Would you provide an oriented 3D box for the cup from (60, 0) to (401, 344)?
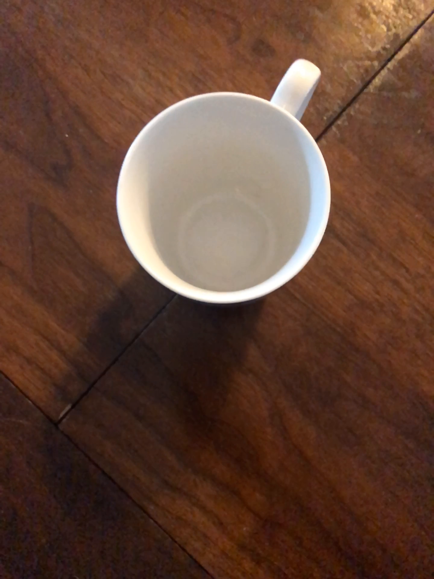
[{"bbox_3d":[0.008,-0.057,0.250,0.100,0.080,0.140,24,85,4],"label":"cup"}]
